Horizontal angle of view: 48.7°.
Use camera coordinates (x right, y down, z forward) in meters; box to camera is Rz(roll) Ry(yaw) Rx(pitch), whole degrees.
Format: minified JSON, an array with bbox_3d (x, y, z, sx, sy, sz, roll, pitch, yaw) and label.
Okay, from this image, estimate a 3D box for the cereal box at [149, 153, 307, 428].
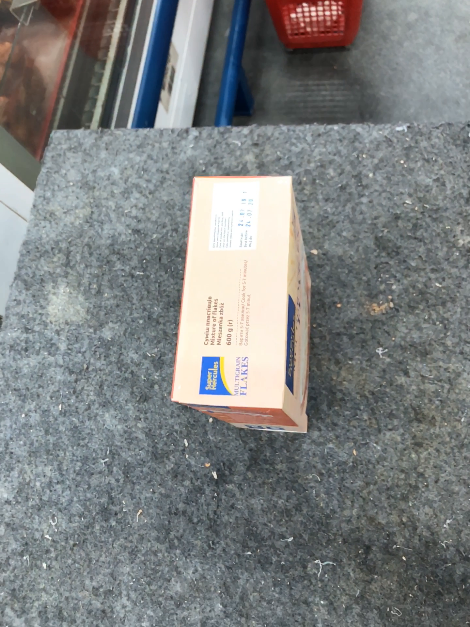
[{"bbox_3d":[0.011,0.002,0.401,0.070,0.199,0.150,0,73,13],"label":"cereal box"}]
